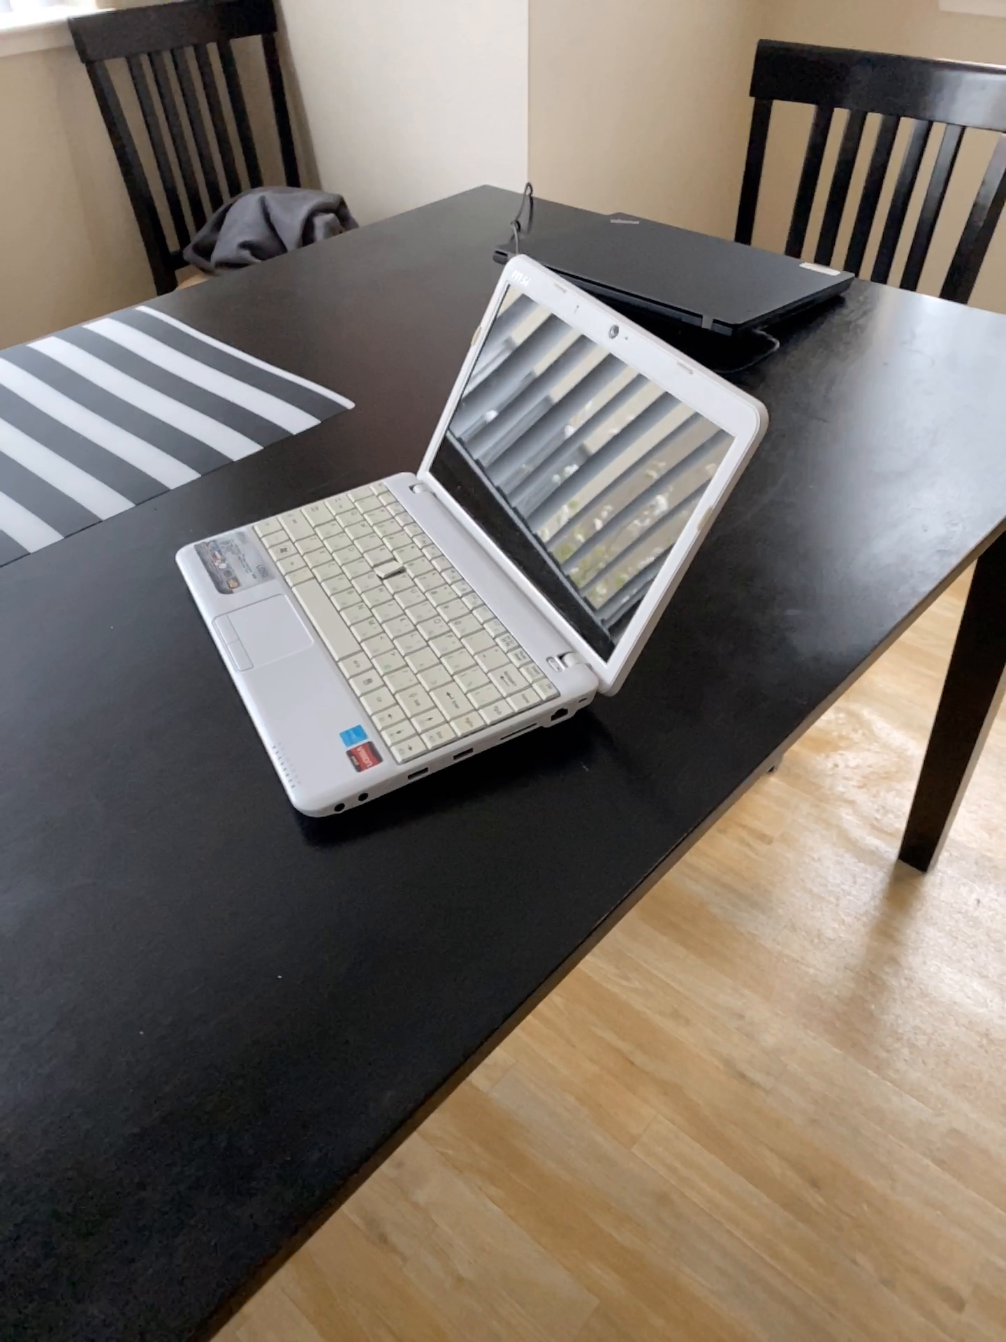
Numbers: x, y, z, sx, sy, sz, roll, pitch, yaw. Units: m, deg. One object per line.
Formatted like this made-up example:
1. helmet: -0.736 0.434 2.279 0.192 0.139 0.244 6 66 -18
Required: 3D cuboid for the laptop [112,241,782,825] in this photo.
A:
1. laptop: -0.050 -0.115 0.651 0.301 0.153 0.296 -22 44 -17
